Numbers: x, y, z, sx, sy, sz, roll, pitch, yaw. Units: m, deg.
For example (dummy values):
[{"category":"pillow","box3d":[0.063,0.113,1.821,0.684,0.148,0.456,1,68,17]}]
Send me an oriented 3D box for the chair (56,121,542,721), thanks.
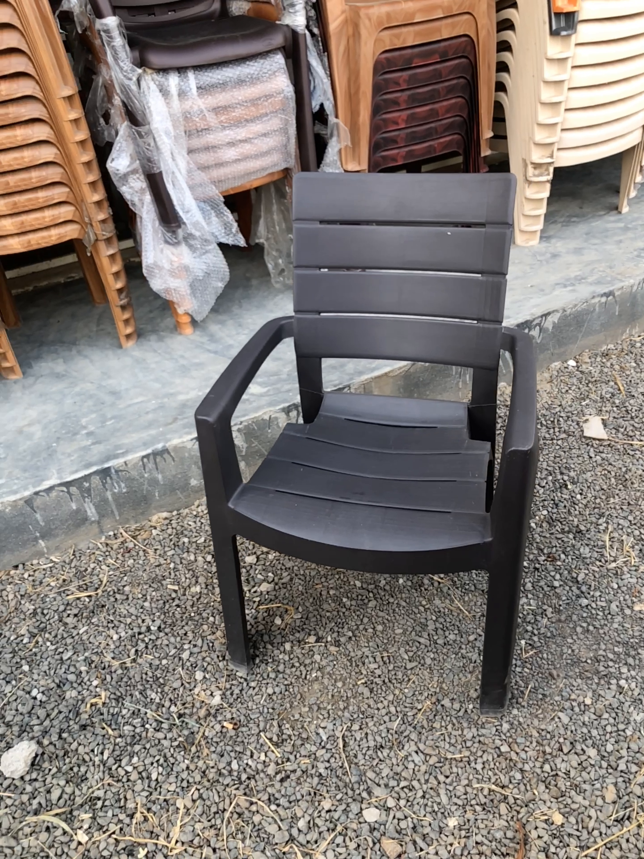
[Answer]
[{"category":"chair","box3d":[0.067,-0.047,1.302,0.570,0.796,0.684,5,38,15]}]
